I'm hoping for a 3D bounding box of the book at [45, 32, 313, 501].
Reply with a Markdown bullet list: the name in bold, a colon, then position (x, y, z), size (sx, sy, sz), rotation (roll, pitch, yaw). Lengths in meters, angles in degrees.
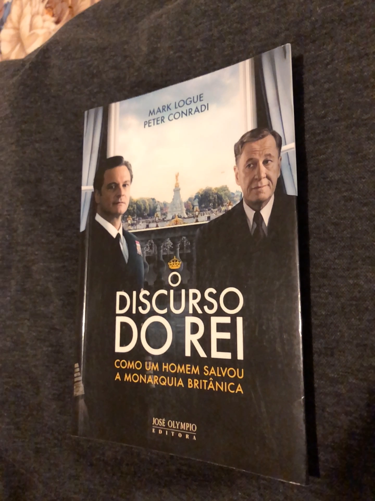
- **book**: position (-0.012, 0.005, 0.256), size (0.161, 0.030, 0.230), rotation (-5, 78, 31)
